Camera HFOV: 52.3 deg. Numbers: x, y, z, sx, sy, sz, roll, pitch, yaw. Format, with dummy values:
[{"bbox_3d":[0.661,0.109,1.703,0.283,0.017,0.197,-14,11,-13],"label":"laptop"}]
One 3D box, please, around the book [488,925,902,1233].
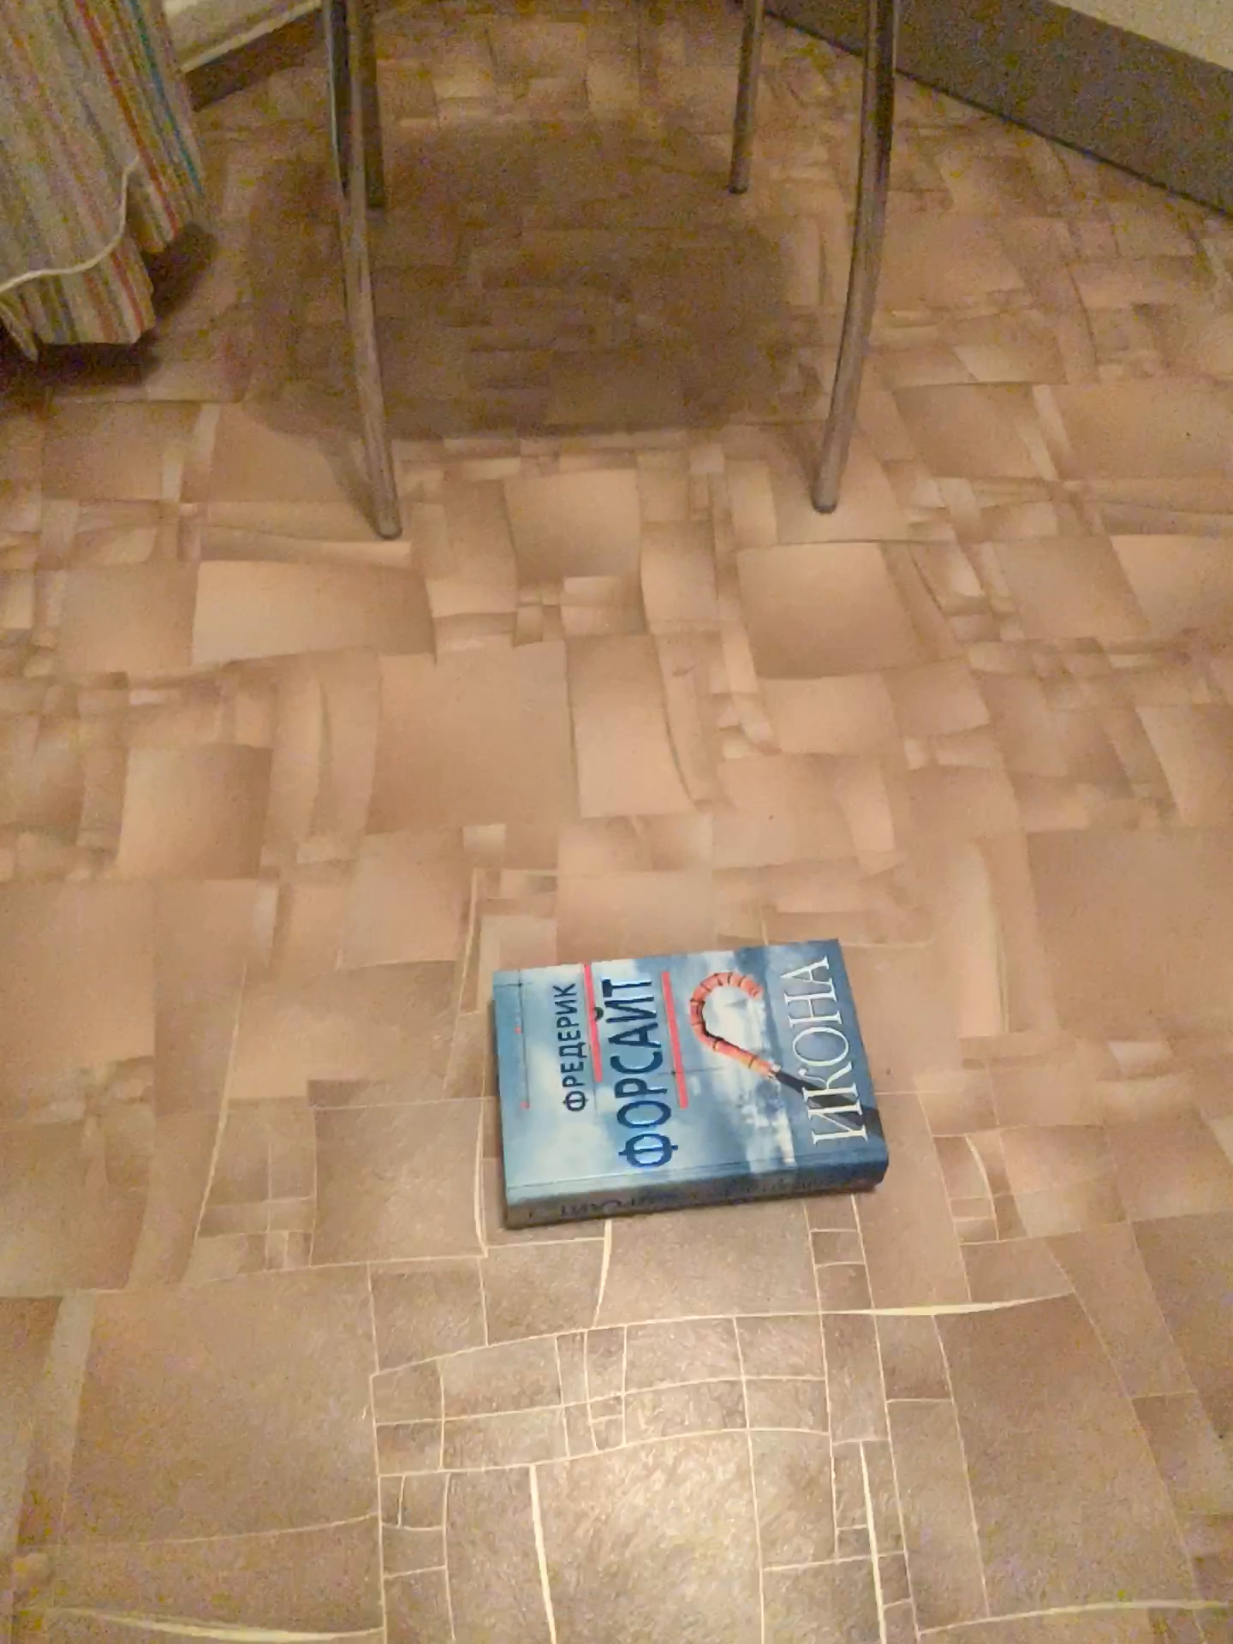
[{"bbox_3d":[0.040,0.152,0.757,0.223,0.056,0.153,-4,59,-5],"label":"book"}]
